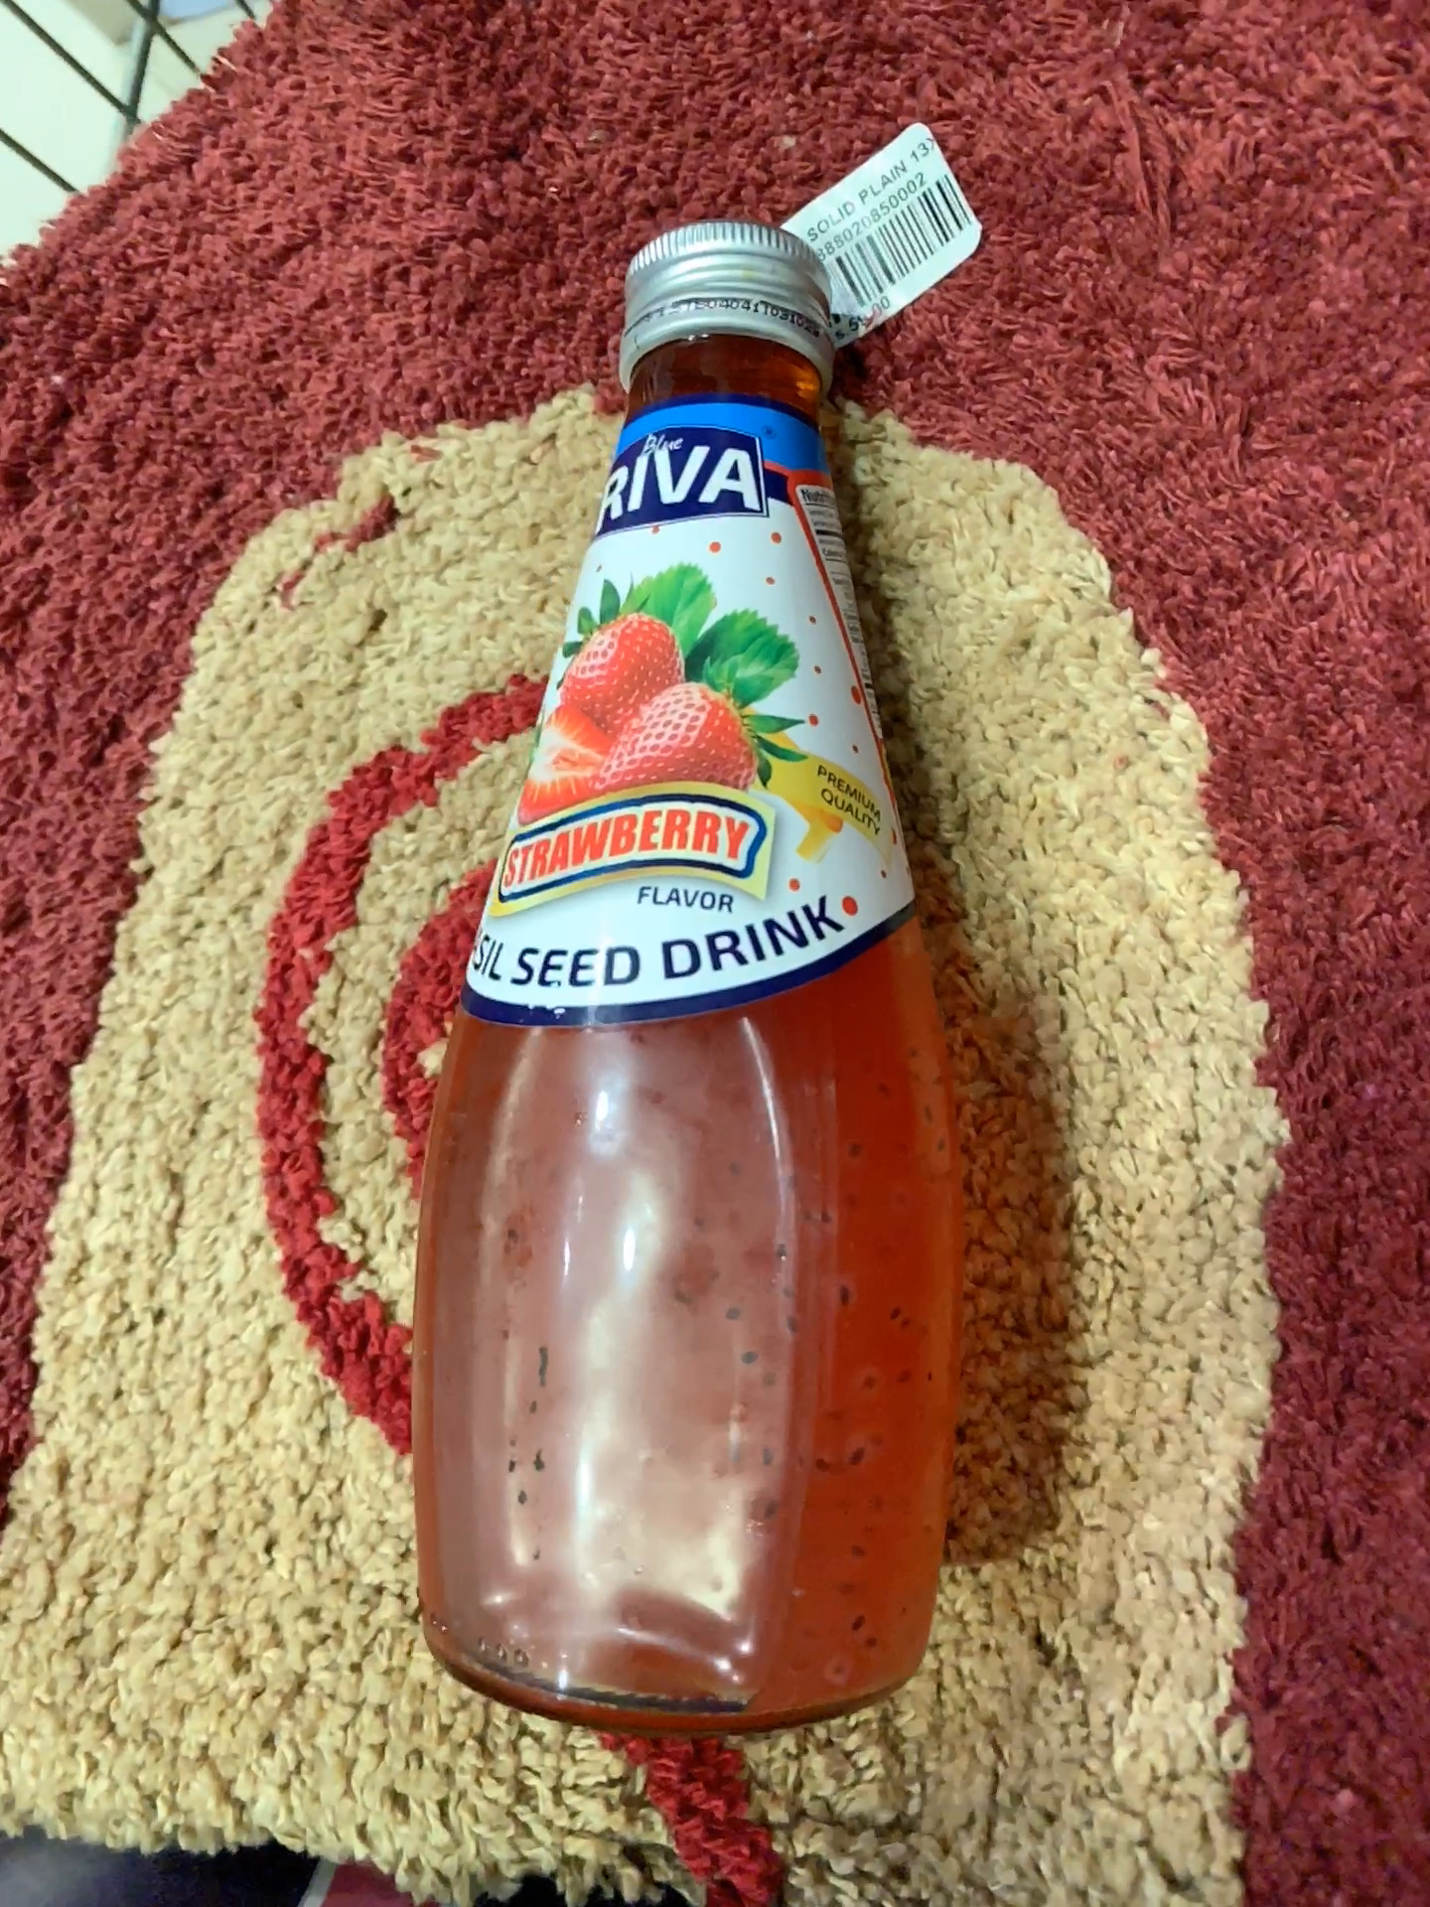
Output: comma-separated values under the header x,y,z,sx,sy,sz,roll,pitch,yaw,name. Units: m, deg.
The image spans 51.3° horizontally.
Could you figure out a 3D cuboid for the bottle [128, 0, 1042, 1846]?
x,y,z,sx,sy,sz,roll,pitch,yaw,name
-0.007,-0.008,0.159,0.070,0.050,0.160,1,81,20,bottle
